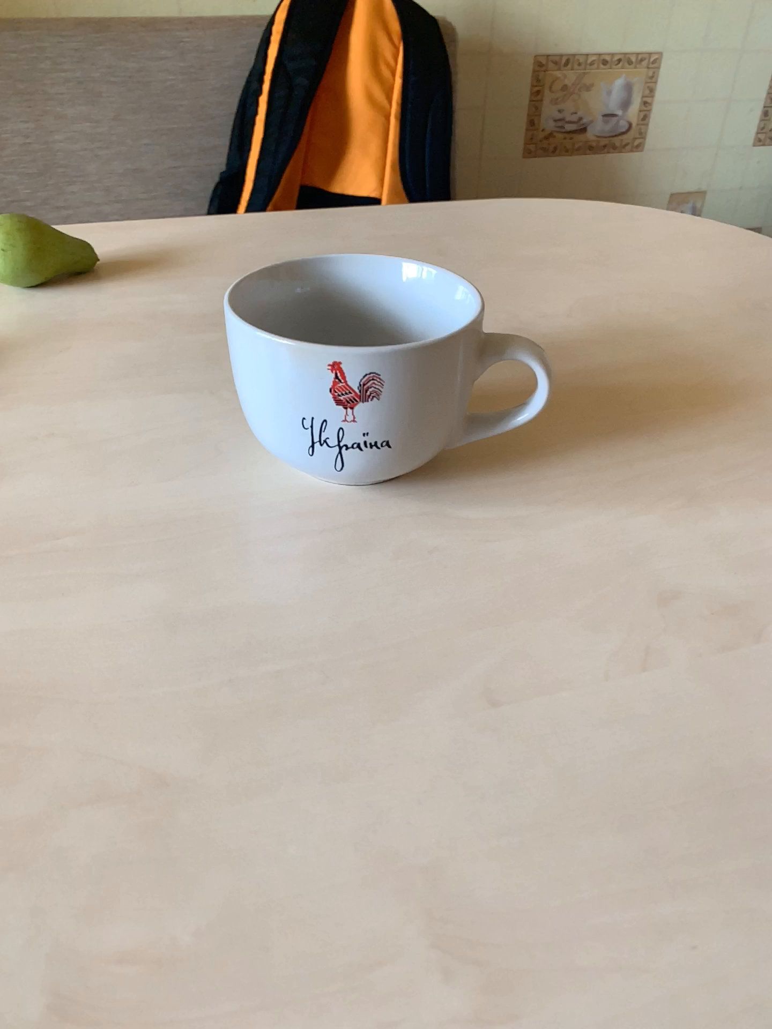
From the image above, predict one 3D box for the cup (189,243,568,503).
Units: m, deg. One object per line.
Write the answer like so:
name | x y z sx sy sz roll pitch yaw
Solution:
cup | 0.001 -0.063 0.329 0.130 0.060 0.100 5 36 4
